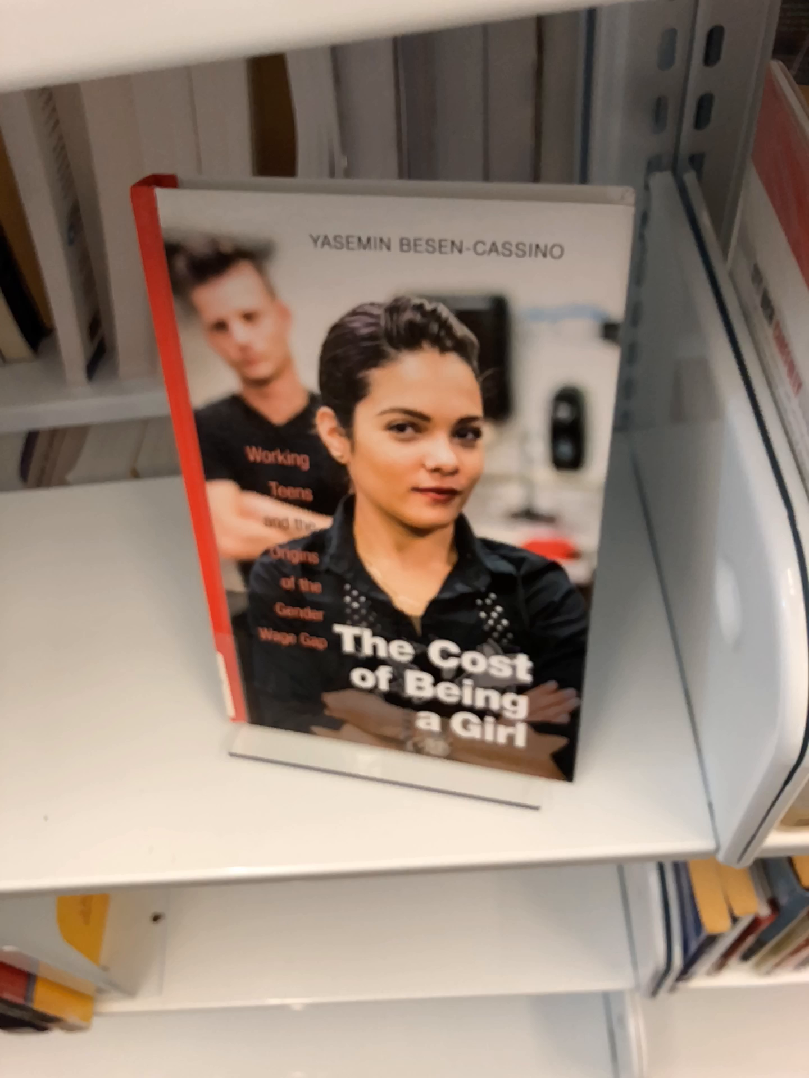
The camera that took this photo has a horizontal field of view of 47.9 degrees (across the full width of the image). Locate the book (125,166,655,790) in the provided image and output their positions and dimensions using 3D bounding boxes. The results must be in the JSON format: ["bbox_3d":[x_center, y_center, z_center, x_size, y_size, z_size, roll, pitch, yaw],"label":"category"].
[{"bbox_3d":[-0.002,-0.011,0.336,0.157,0.230,0.030,7,34,14],"label":"book"}]
